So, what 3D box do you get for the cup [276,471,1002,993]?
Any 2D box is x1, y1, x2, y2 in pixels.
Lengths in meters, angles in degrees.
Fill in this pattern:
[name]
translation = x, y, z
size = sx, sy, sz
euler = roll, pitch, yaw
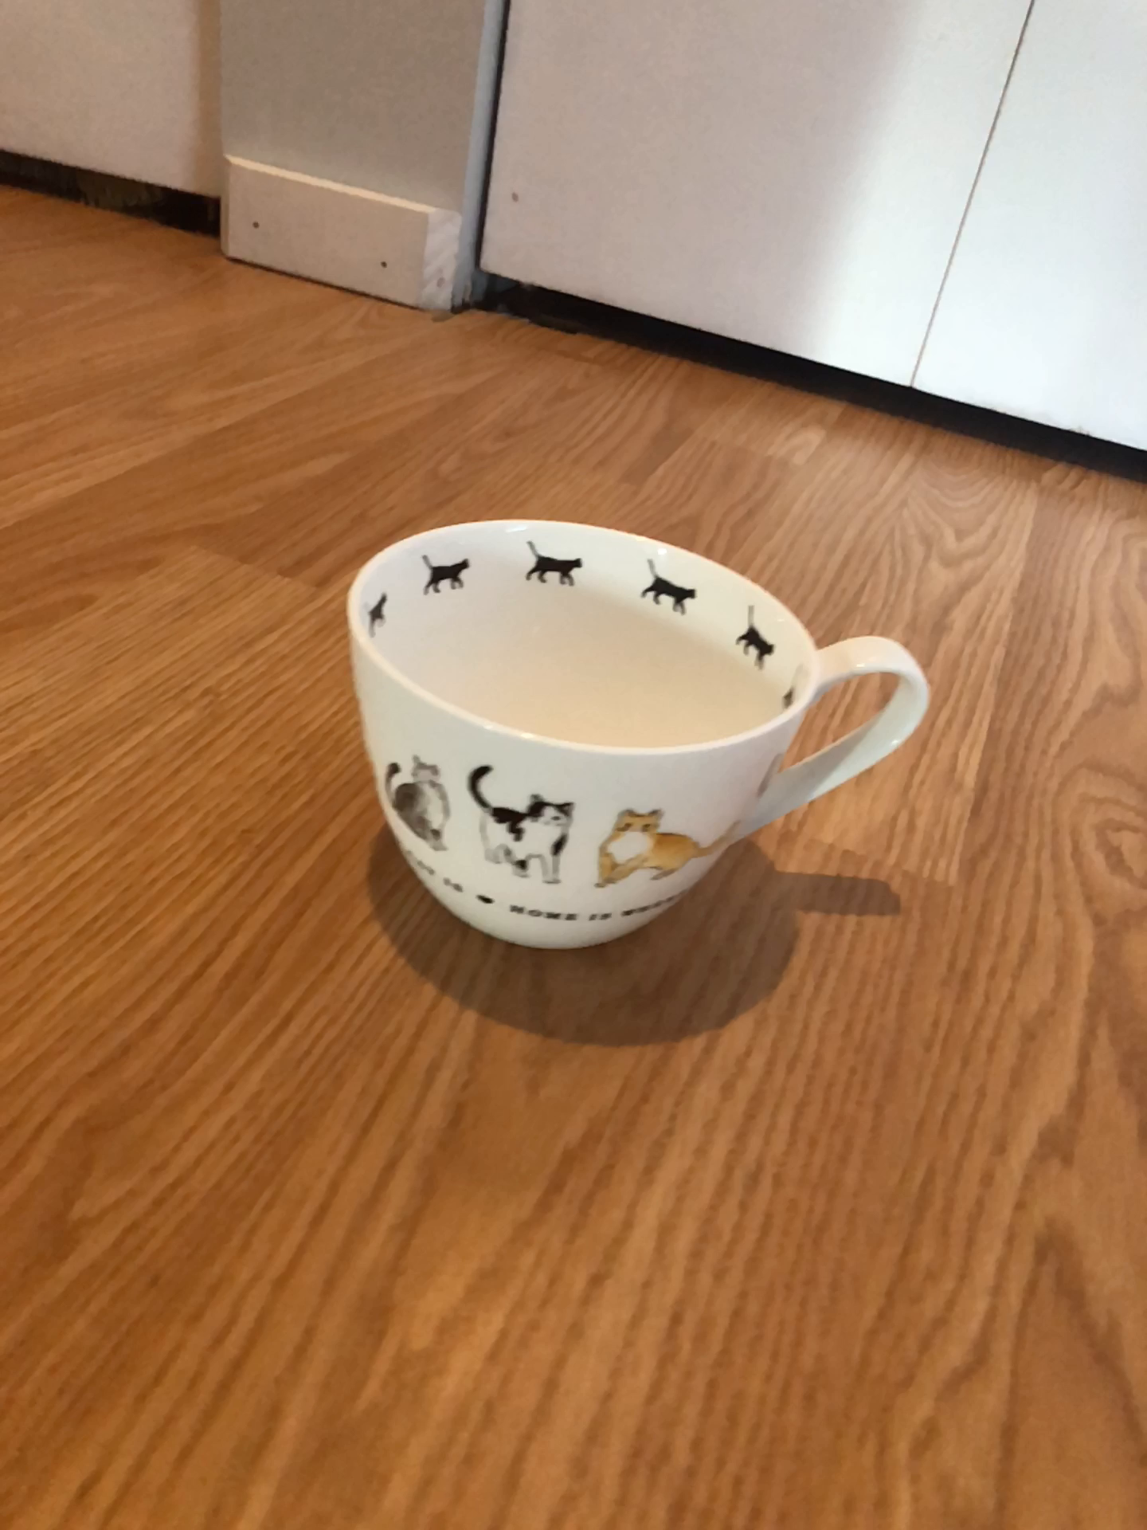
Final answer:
[cup]
translation = 0.005, -0.011, 0.345
size = 0.160, 0.080, 0.120
euler = 3, 35, -13
